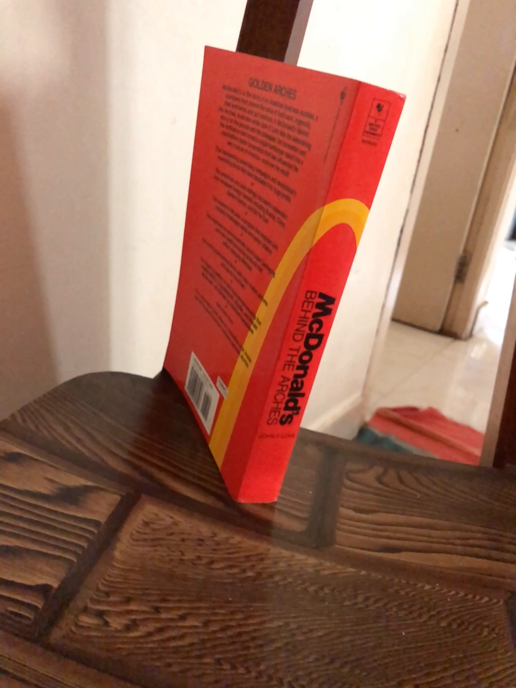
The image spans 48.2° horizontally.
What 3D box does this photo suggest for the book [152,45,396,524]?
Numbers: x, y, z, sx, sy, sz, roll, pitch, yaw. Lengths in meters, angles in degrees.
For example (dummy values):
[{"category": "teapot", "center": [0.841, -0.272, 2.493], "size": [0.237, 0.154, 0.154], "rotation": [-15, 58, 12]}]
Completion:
[{"category": "book", "center": [-0.015, -0.049, 0.362], "size": [0.040, 0.239, 0.191], "rotation": [3, 23, -23]}]
